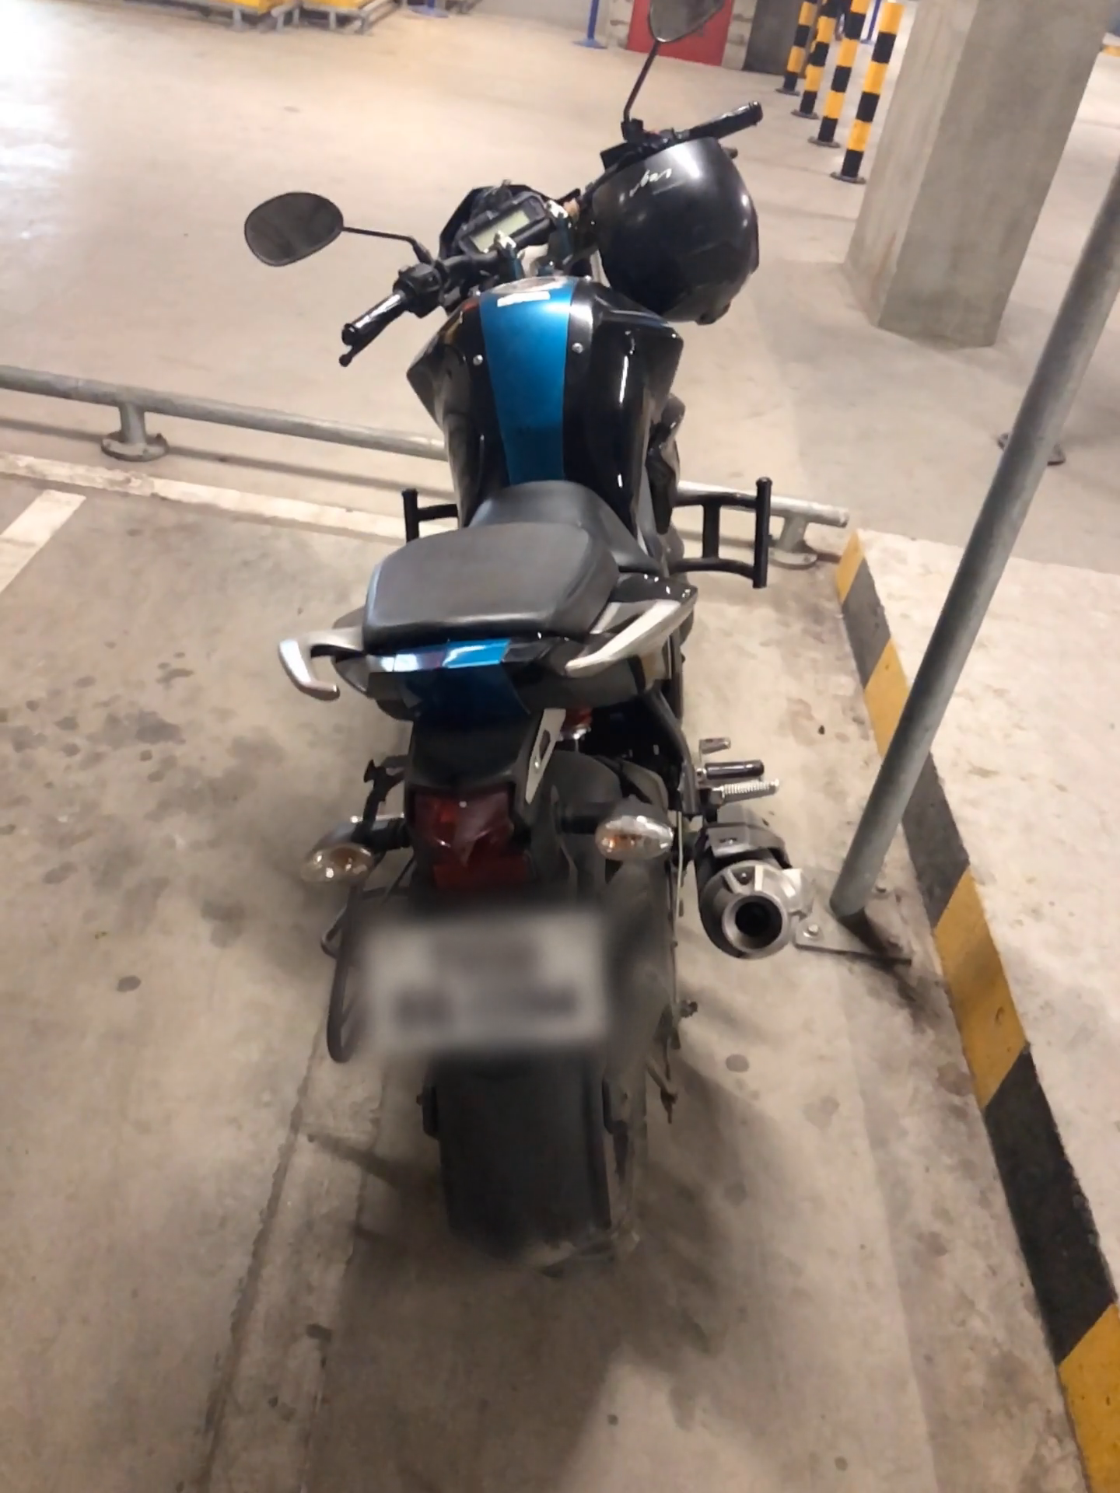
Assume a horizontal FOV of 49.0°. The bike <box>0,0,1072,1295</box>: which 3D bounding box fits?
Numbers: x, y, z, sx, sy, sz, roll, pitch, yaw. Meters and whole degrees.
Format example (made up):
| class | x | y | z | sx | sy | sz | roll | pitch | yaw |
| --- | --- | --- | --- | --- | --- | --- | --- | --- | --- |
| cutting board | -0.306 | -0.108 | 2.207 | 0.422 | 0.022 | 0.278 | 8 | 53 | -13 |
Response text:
| class | x | y | z | sx | sy | sz | roll | pitch | yaw |
| --- | --- | --- | --- | --- | --- | --- | --- | --- | --- |
| bike | -0.161 | -0.269 | 1.587 | 0.766 | 0.950 | 1.422 | 6 | 36 | -7 |
